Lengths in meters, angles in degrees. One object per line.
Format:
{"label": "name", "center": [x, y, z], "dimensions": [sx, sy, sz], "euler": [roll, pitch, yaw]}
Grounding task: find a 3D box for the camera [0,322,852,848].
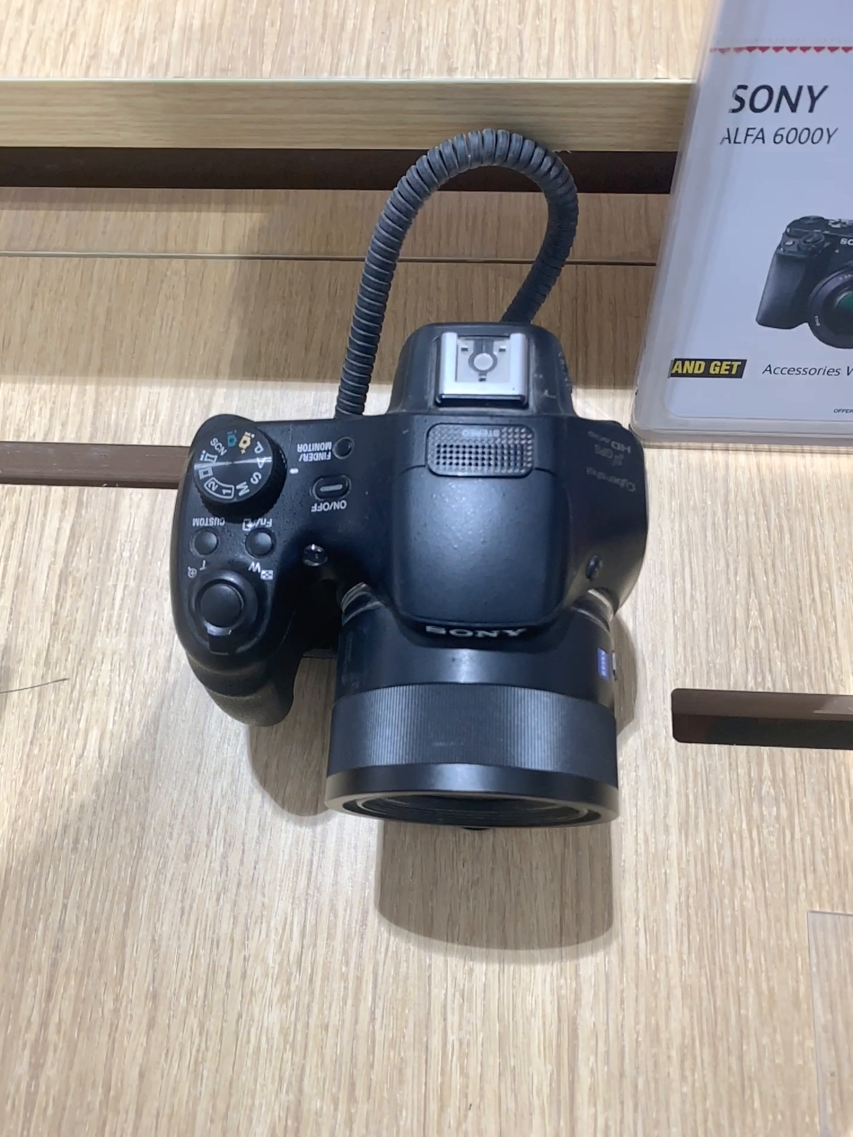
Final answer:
{"label": "camera", "center": [0.003, 0.012, 0.199], "dimensions": [0.140, 0.100, 0.090], "euler": [1, 70, 2]}
